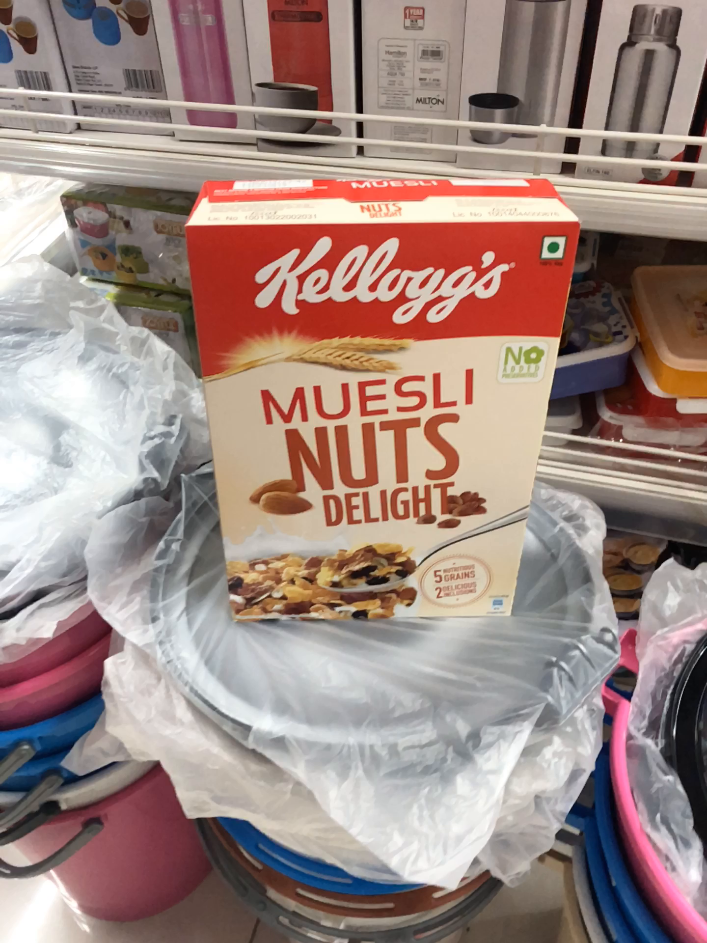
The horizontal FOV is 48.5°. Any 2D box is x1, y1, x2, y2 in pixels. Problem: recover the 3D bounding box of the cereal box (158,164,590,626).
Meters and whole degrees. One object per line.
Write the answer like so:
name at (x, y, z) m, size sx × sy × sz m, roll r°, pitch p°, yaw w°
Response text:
cereal box at (0.007, -0.031, 0.447) m, size 0.190 × 0.259 × 0.070 m, roll 0°, pitch 34°, yaw -1°
